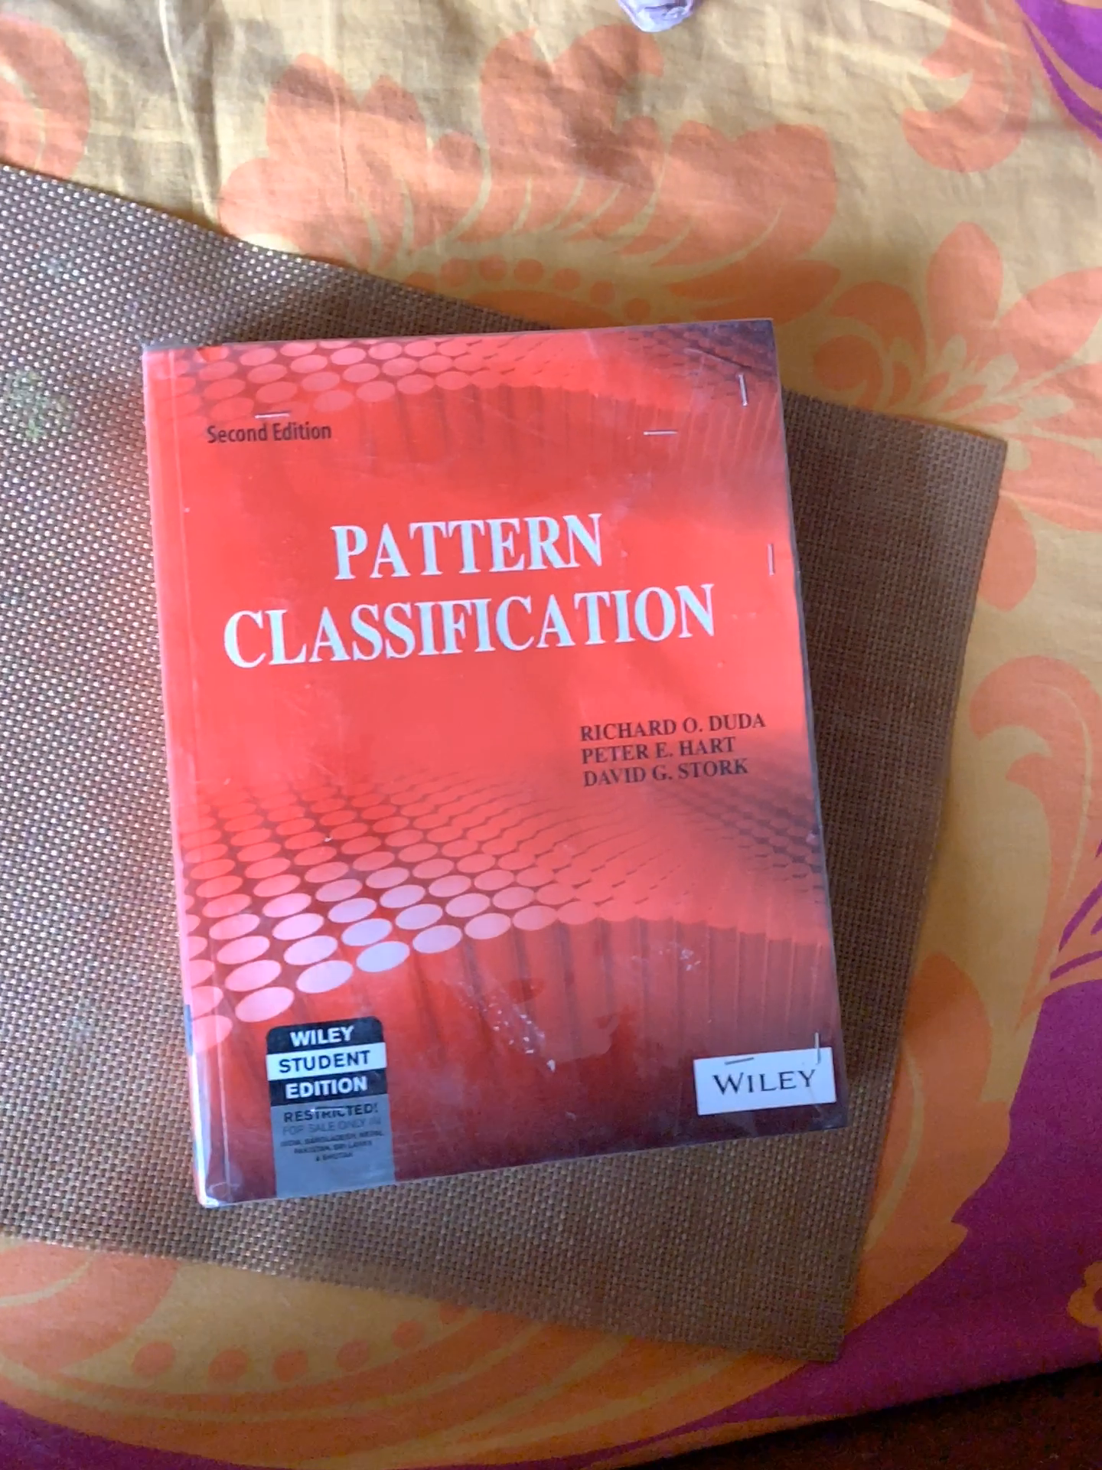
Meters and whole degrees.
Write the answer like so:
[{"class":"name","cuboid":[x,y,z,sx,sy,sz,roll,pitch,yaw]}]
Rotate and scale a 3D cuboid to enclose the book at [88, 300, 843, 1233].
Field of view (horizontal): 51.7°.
[{"class":"book","cuboid":[-0.022,0.001,0.315,0.180,0.040,0.230,-4,87,-9]}]
